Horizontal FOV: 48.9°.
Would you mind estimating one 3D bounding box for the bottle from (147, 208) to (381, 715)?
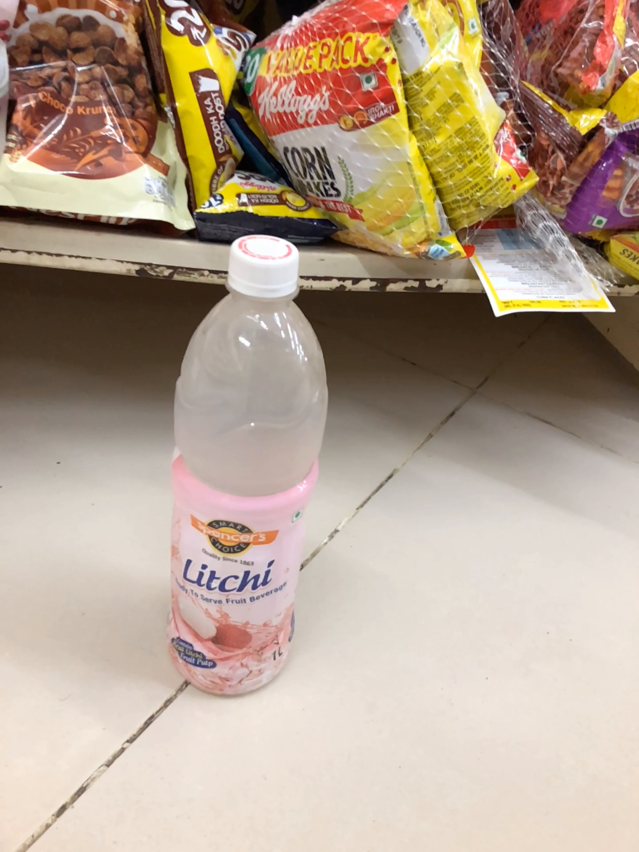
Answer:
[{"bbox_3d":[-0.032,0.030,0.344,0.080,0.238,0.081,6,35,-4],"label":"bottle"}]
